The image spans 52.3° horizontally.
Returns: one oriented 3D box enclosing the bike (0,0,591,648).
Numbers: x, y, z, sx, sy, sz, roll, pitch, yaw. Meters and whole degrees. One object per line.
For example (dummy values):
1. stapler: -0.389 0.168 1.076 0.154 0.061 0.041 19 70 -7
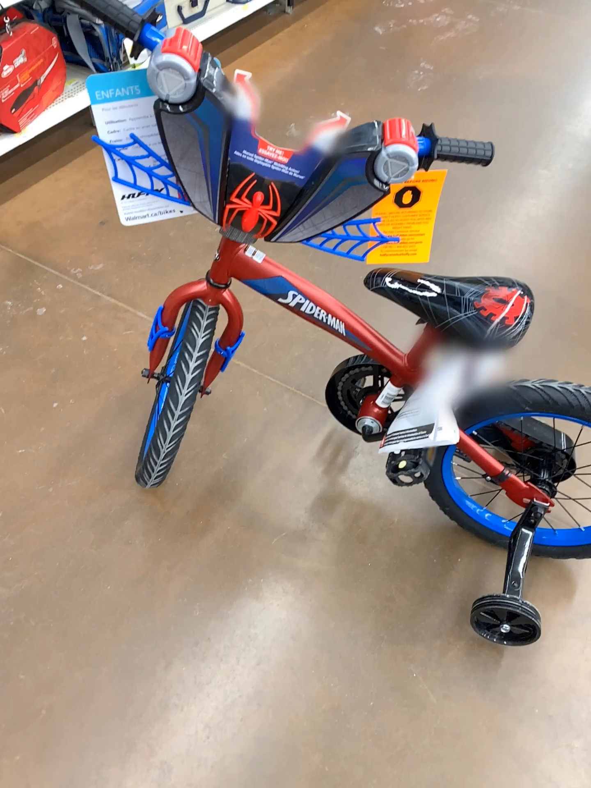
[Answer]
1. bike: 0.085 -0.070 0.726 0.565 0.709 0.477 8 50 6
